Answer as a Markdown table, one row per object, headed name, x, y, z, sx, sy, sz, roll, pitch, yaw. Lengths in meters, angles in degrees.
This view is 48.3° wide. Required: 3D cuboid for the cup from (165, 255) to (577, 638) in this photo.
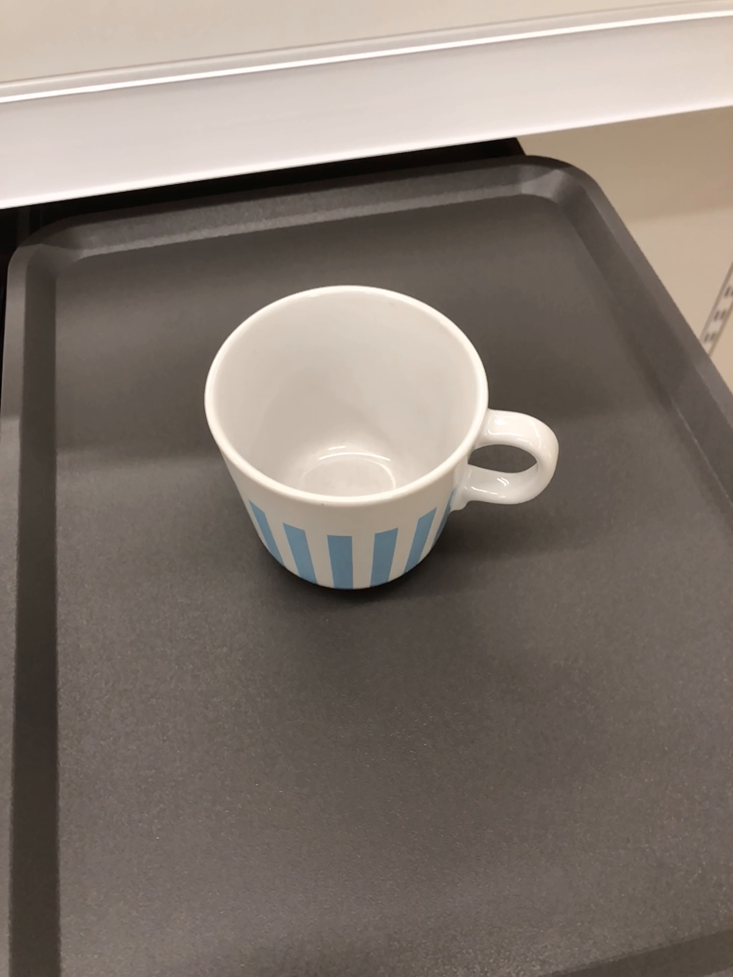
| name | x | y | z | sx | sy | sz | roll | pitch | yaw |
| --- | --- | --- | --- | --- | --- | --- | --- | --- | --- |
| cup | 0.007 | -0.015 | 0.271 | 0.110 | 0.070 | 0.090 | 7 | 54 | 5 |
